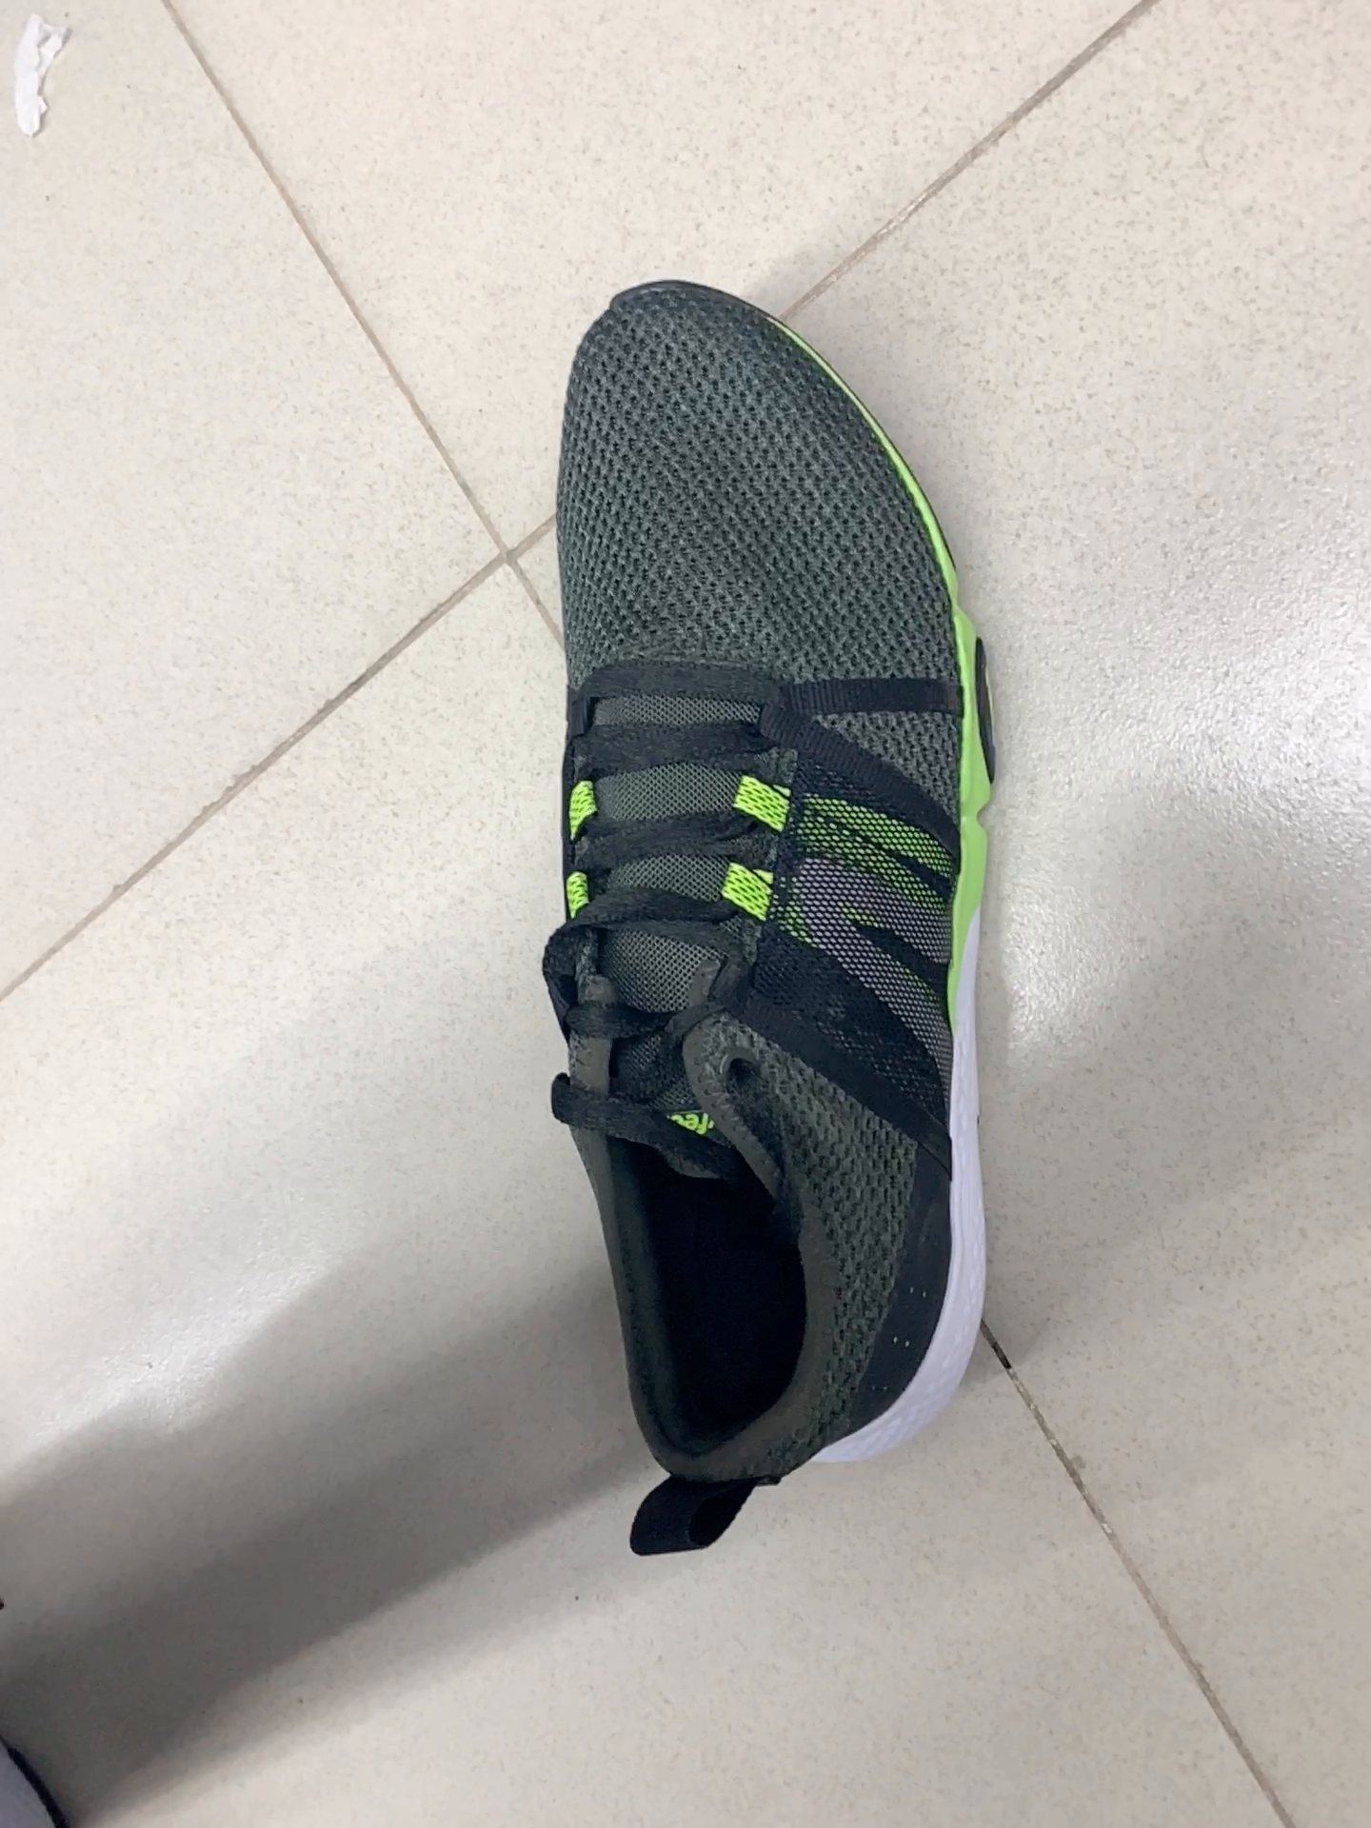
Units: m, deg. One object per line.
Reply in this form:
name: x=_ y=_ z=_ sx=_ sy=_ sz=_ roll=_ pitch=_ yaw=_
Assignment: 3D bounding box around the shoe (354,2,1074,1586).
shoe: x=0.014 y=-0.019 z=0.334 sx=0.110 sy=0.100 sz=0.300 roll=-6 pitch=91 yaw=24
